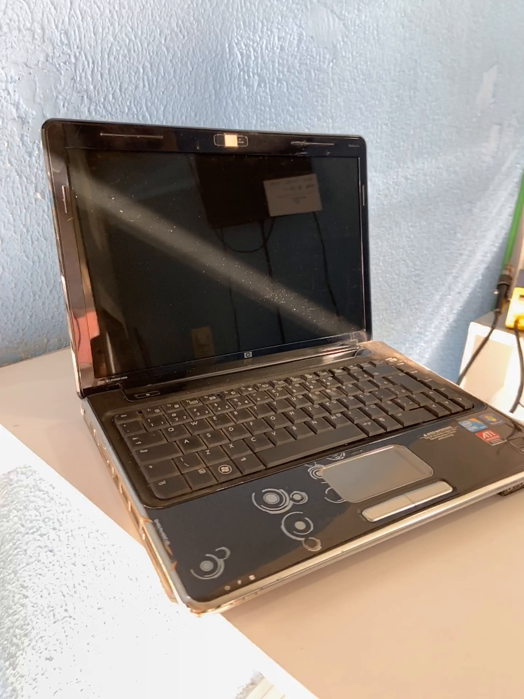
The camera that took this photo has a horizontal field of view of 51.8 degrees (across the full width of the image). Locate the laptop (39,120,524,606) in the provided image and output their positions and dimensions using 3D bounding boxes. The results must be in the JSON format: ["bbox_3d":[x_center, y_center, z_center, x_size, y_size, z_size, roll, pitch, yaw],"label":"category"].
[{"bbox_3d":[0.030,-0.050,0.431,0.322,0.211,0.302,-10,28,-29],"label":"laptop"}]
